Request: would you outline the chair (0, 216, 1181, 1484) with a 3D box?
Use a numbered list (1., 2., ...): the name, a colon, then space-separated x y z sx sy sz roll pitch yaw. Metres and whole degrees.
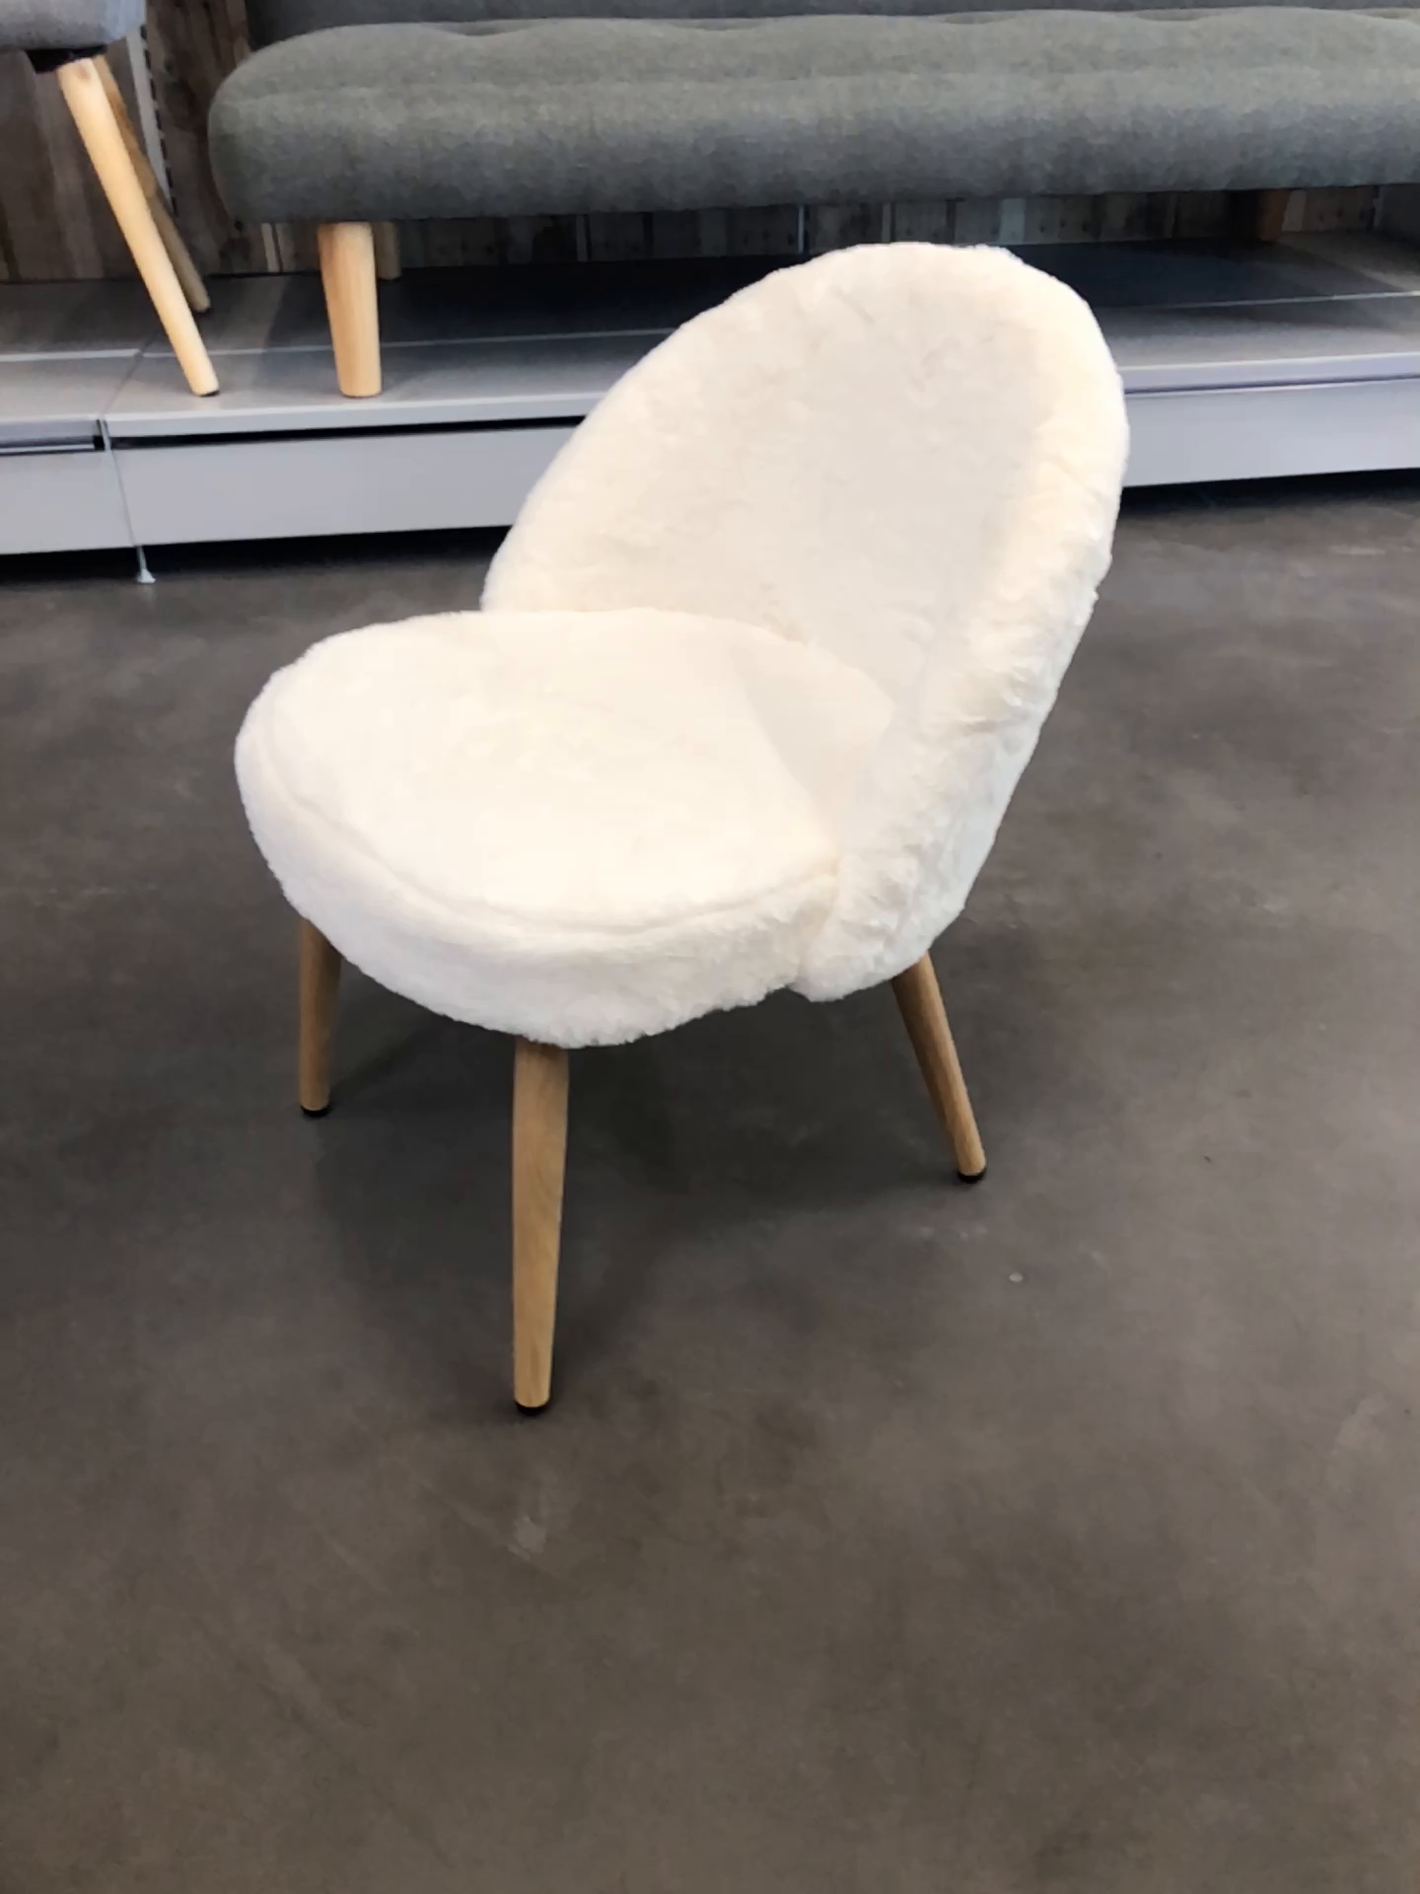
1. chair: -0.071 -0.103 0.946 0.472 0.537 0.411 -21 37 -27
